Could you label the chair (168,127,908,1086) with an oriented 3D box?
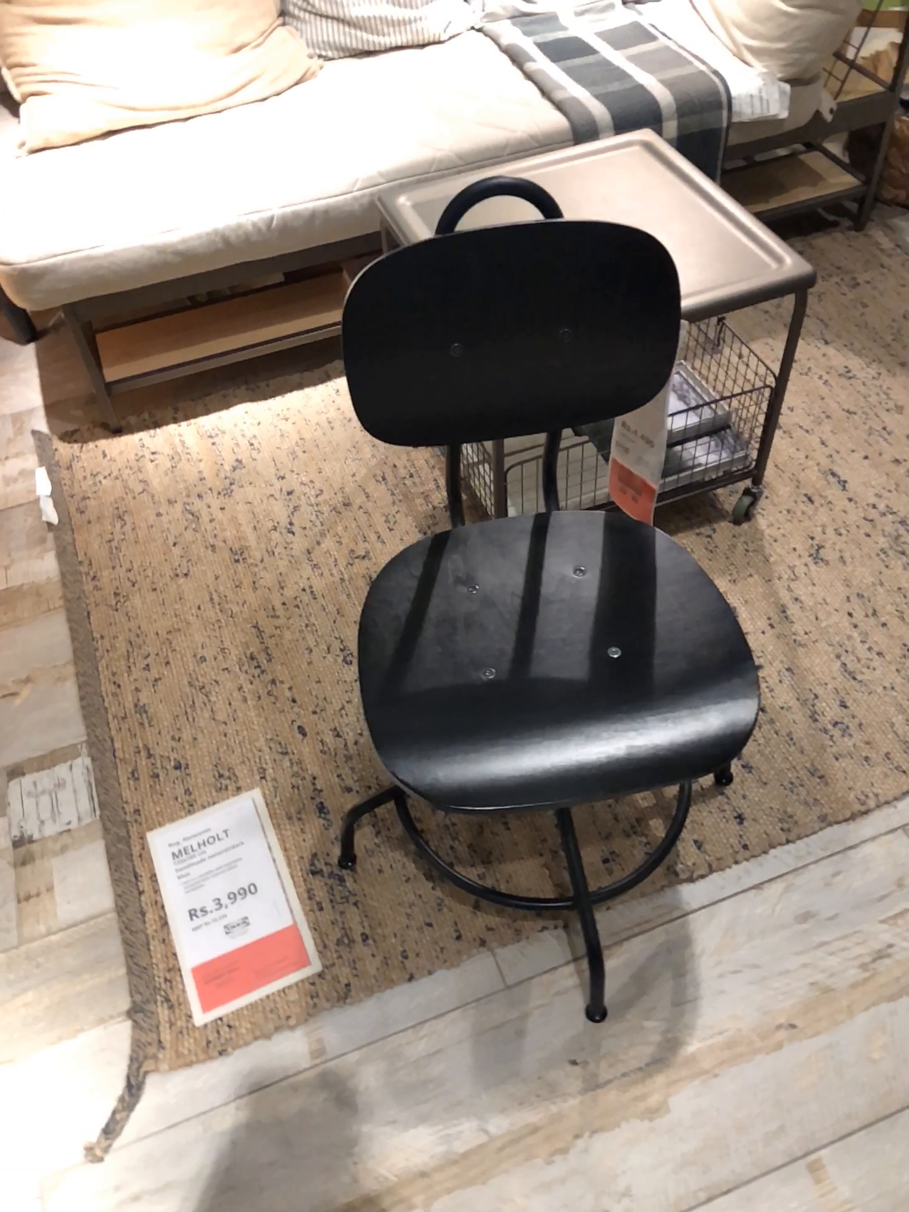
[{"bbox_3d":[0.098,0.042,1.070,0.590,0.765,0.584,-11,50,-4],"label":"chair"}]
